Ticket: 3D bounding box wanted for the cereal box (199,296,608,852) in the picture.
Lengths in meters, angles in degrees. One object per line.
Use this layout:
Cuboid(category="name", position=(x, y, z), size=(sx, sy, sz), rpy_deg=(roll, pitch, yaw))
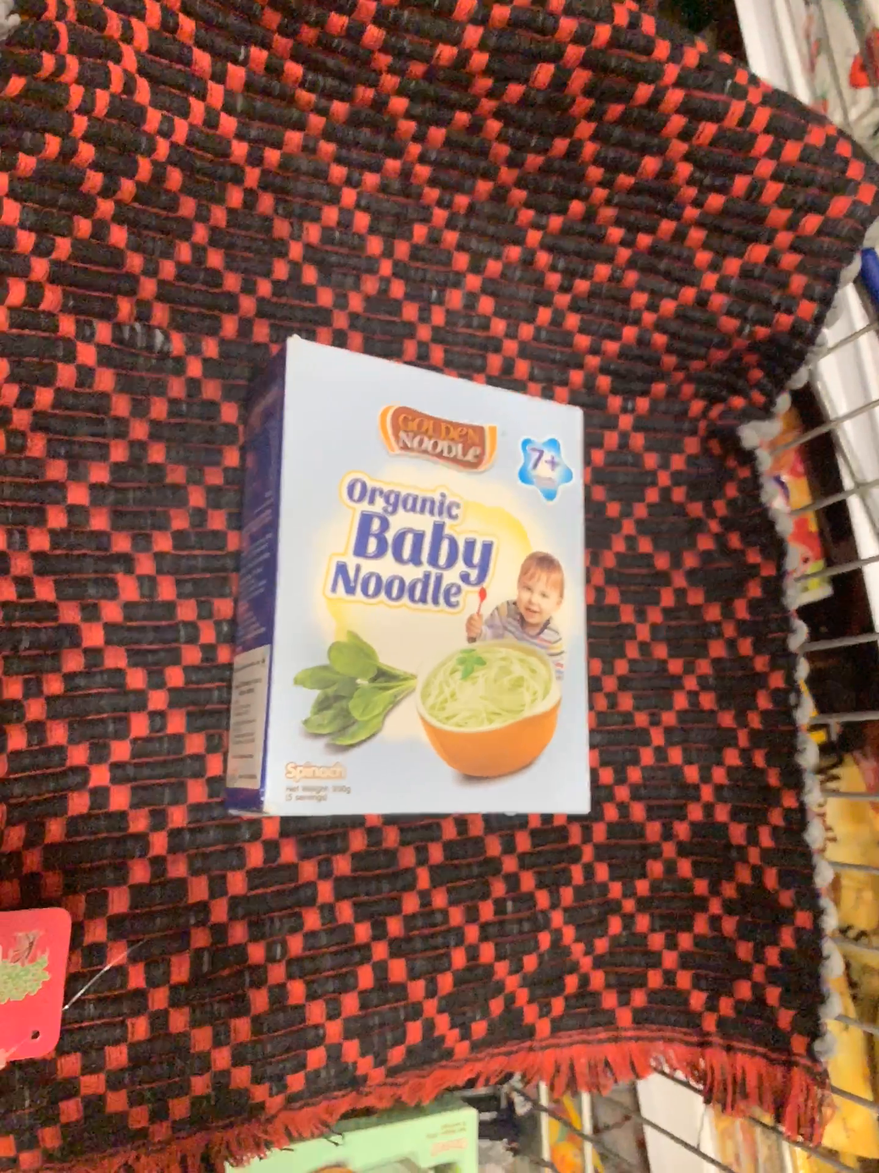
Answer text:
Cuboid(category="cereal box", position=(-0.009, 0.002, 0.328), size=(0.130, 0.050, 0.170), rpy_deg=(7, 78, -28))
